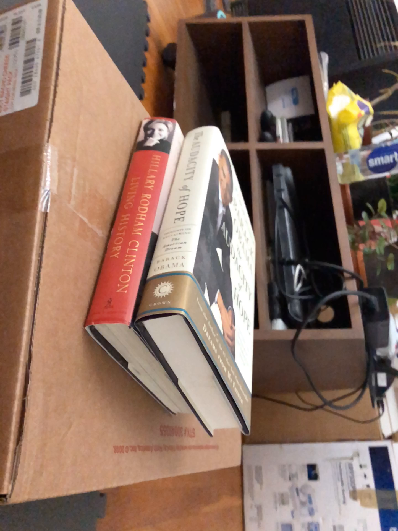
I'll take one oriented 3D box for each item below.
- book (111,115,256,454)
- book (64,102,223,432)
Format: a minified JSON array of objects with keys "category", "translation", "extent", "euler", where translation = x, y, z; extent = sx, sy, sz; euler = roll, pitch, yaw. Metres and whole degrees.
[{"category":"book","translation":[0.009,0.010,0.412],"extent":[0.251,0.040,0.190],"euler":[-81,155,-45]},{"category":"book","translation":[-0.027,-0.003,0.407],"extent":[0.170,0.040,0.251],"euler":[62,25,-46]}]
